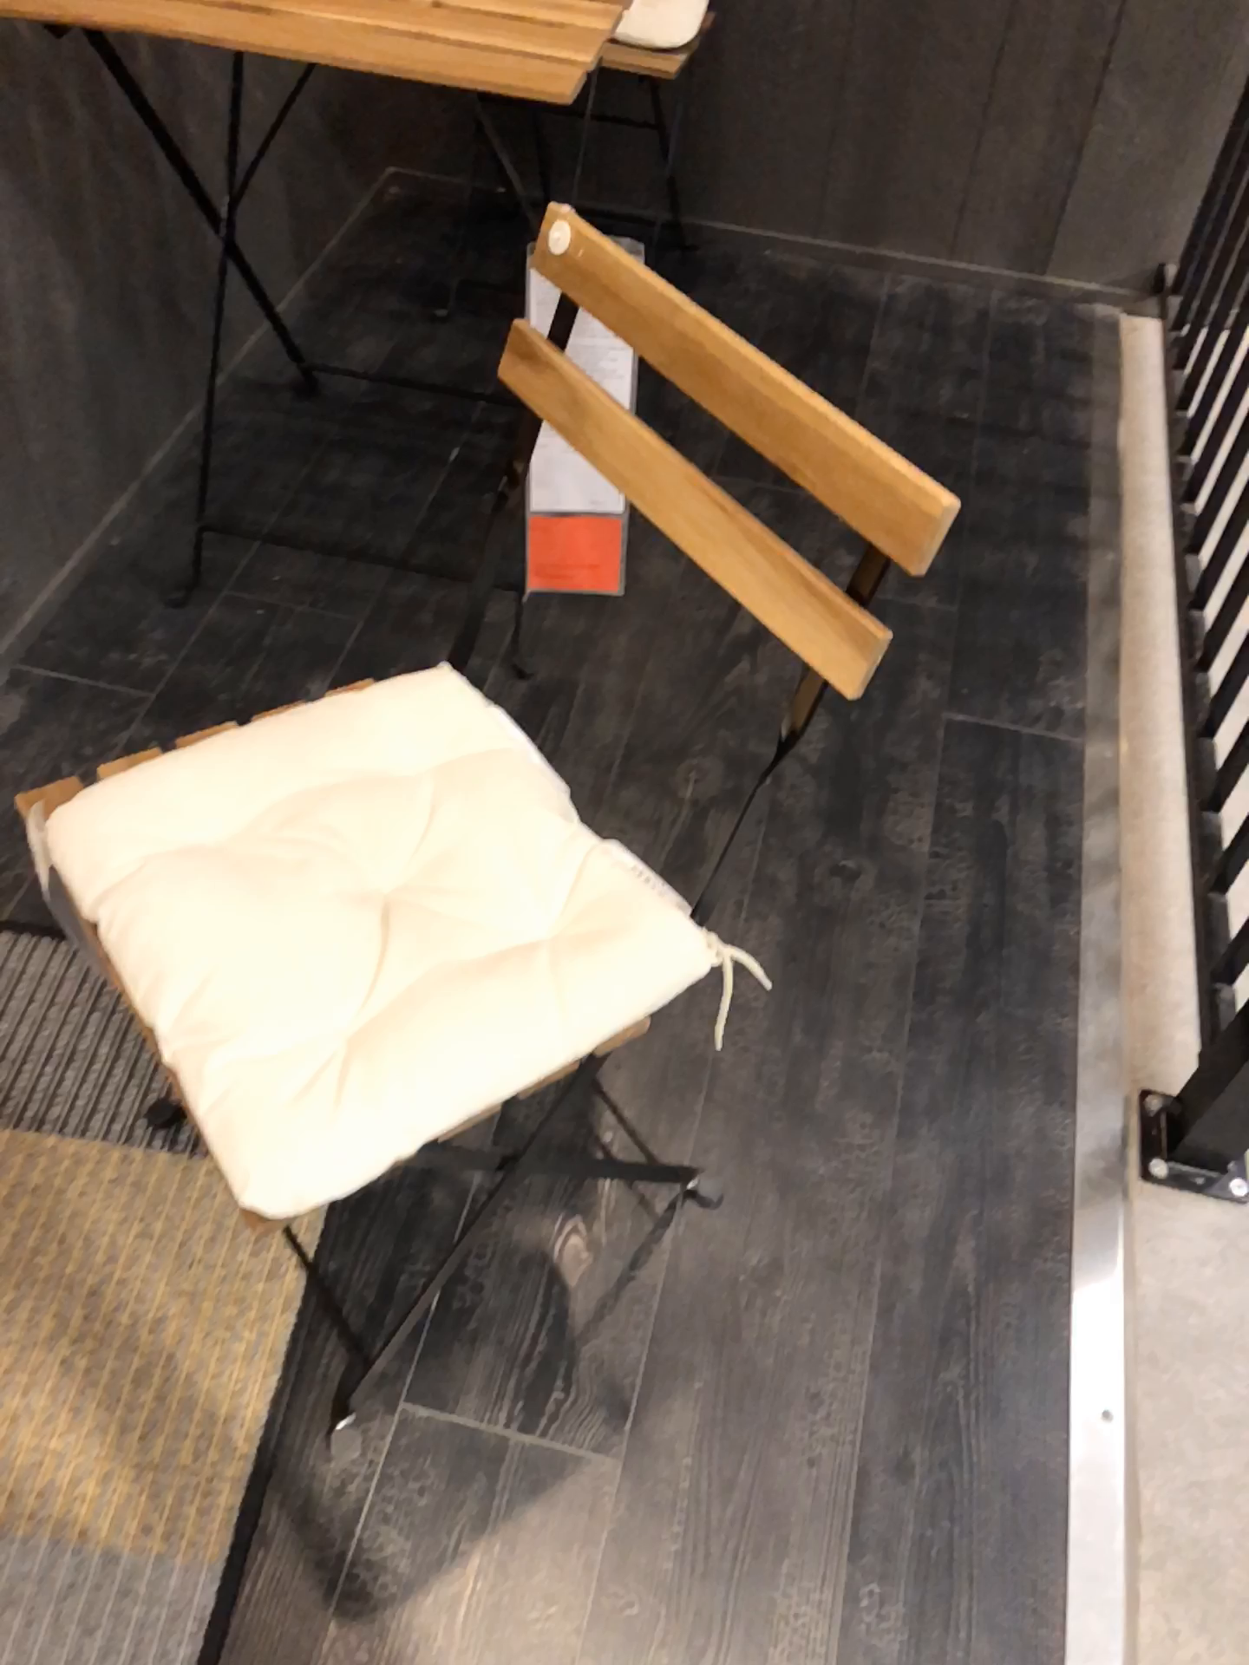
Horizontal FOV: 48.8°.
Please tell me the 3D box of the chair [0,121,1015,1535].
[{"bbox_3d":[-0.157,0.036,0.944,0.461,0.757,0.451,-26,56,-24],"label":"chair"}]
